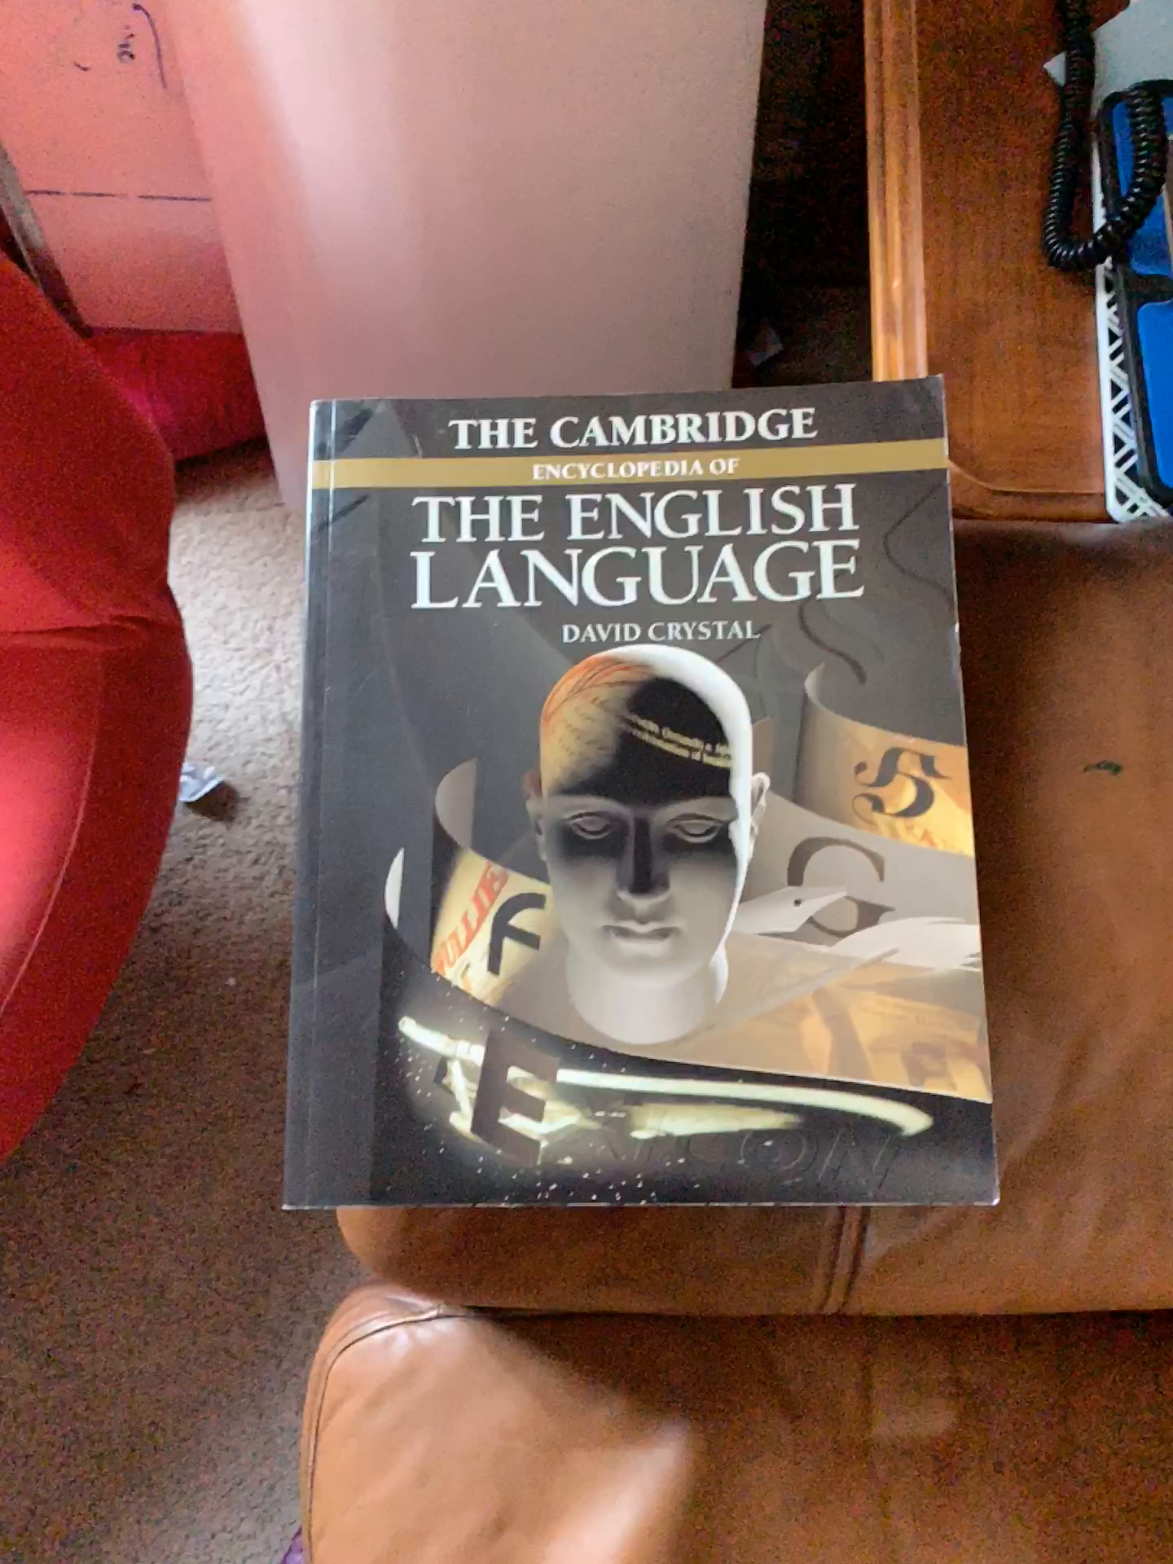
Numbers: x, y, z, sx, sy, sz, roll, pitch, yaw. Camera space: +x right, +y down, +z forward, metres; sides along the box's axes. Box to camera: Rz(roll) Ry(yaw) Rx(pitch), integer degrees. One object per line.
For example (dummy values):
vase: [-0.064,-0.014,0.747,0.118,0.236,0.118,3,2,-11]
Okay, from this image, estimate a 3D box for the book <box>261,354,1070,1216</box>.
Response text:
book: [0.022,-0.004,0.412,0.240,0.050,0.280,-1,78,1]
